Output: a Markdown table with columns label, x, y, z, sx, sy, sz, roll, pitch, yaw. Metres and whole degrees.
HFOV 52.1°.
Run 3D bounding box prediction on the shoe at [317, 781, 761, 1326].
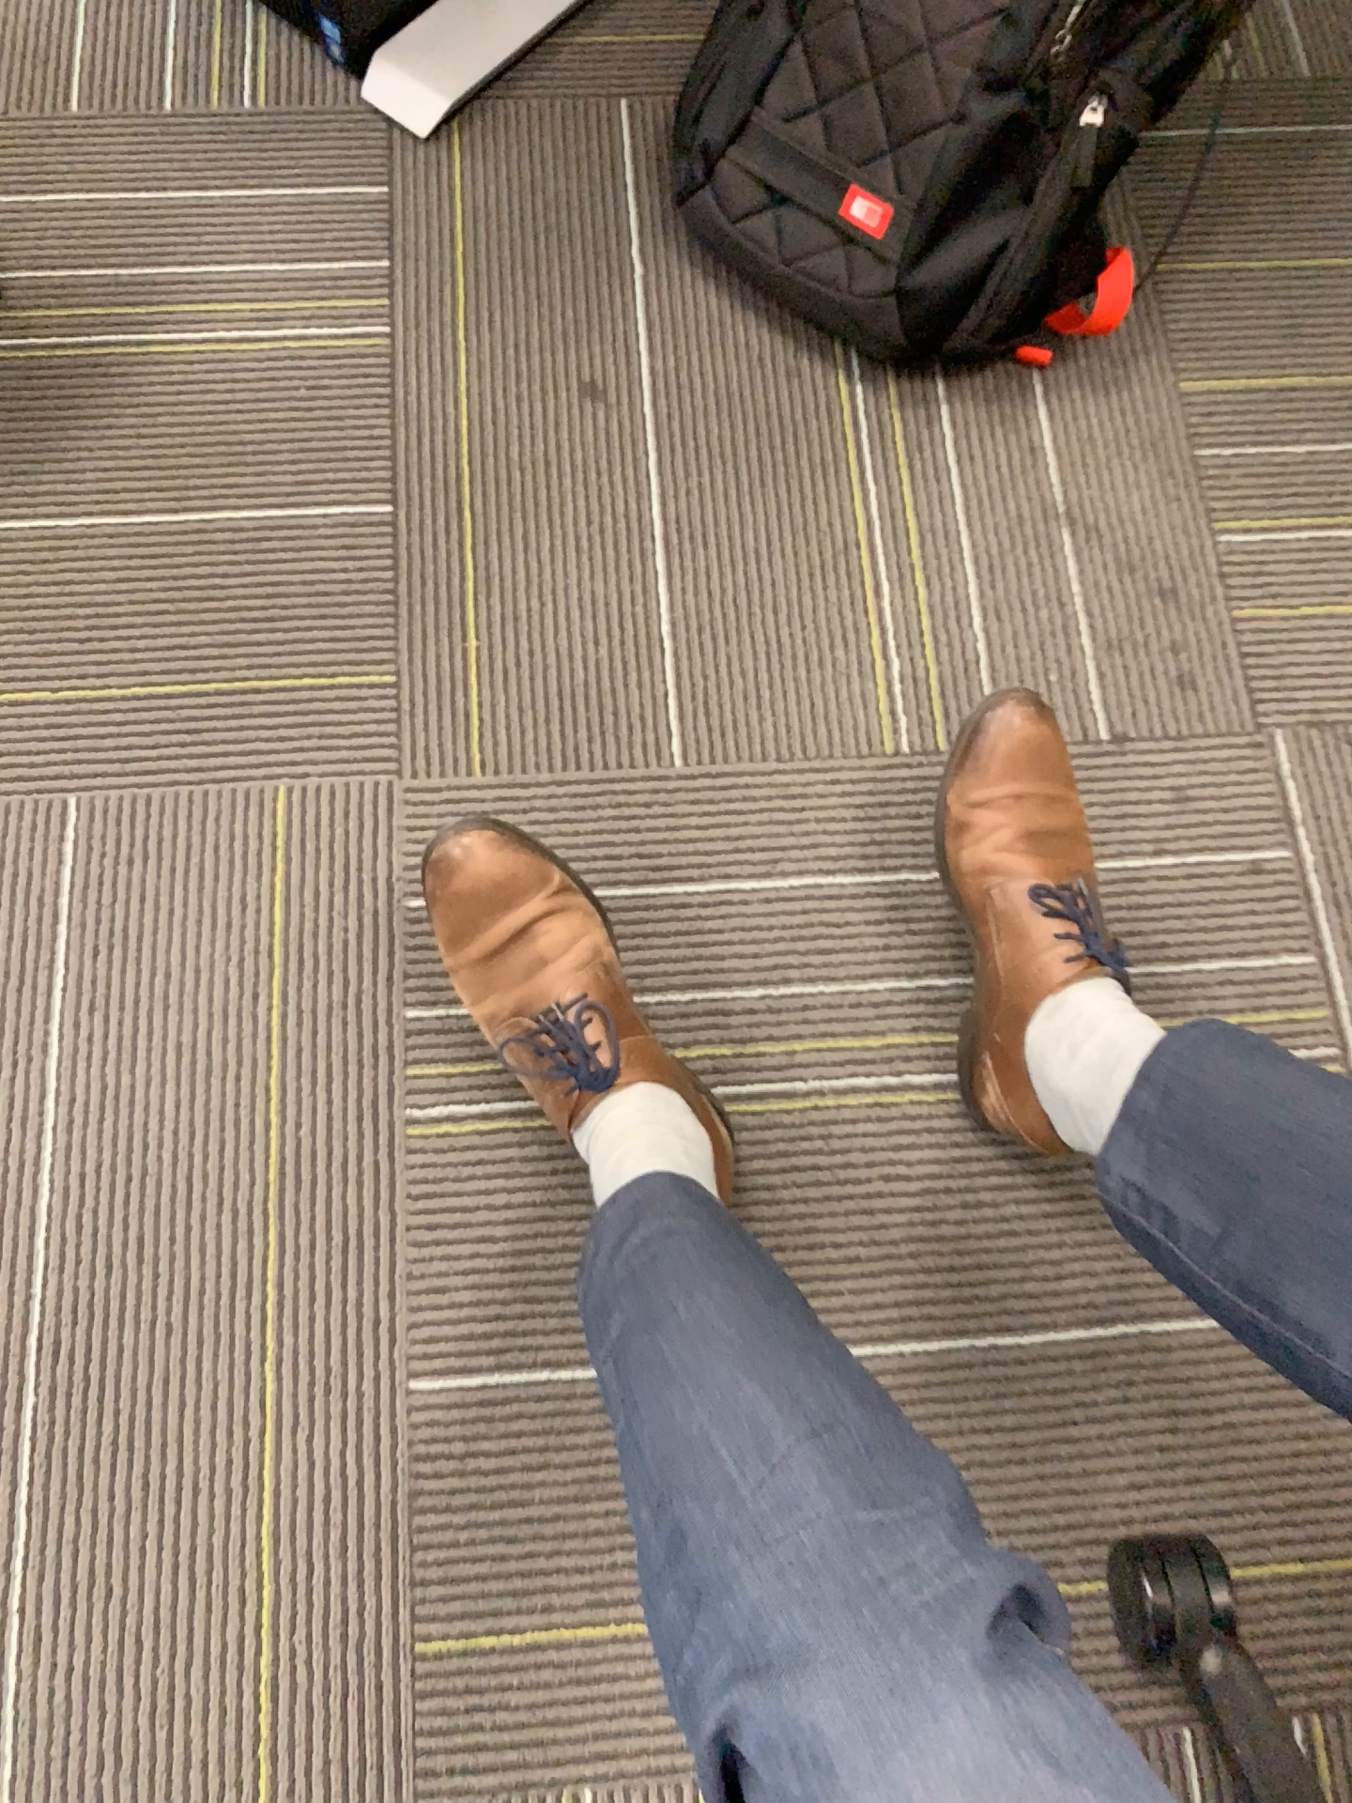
| label | x | y | z | sx | sy | sz | roll | pitch | yaw |
| --- | --- | --- | --- | --- | --- | --- | --- | --- | --- |
| shoe | -0.073 | 0.080 | 0.783 | 0.120 | 0.084 | 0.271 | -29 | 94 | 1 |

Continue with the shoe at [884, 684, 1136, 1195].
| label | x | y | z | sx | sy | sz | roll | pitch | yaw |
| --- | --- | --- | --- | --- | --- | --- | --- | --- | --- |
| shoe | 0.196 | 0.019 | 0.815 | 0.103 | 0.074 | 0.281 | -4 | 90 | -24 |
